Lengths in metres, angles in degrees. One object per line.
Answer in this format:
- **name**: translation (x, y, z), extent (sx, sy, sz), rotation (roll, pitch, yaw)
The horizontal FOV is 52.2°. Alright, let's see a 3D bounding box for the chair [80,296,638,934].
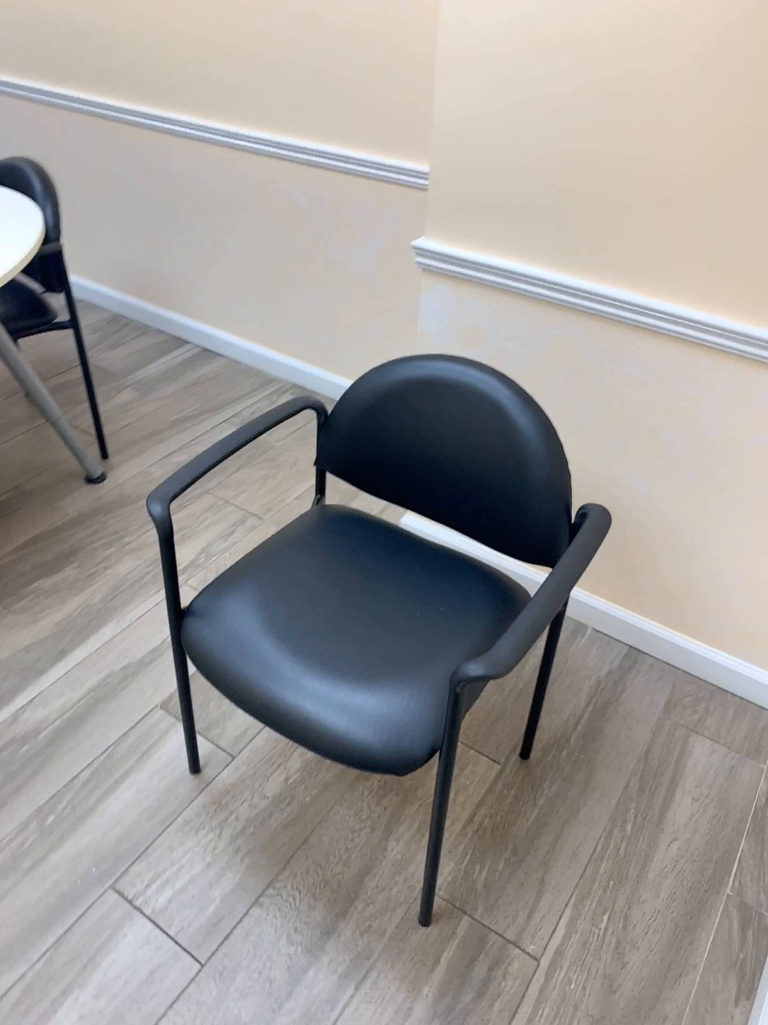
- **chair**: translation (-0.028, 0.142, 1.300), extent (0.583, 0.726, 0.512), rotation (23, 42, 24)
